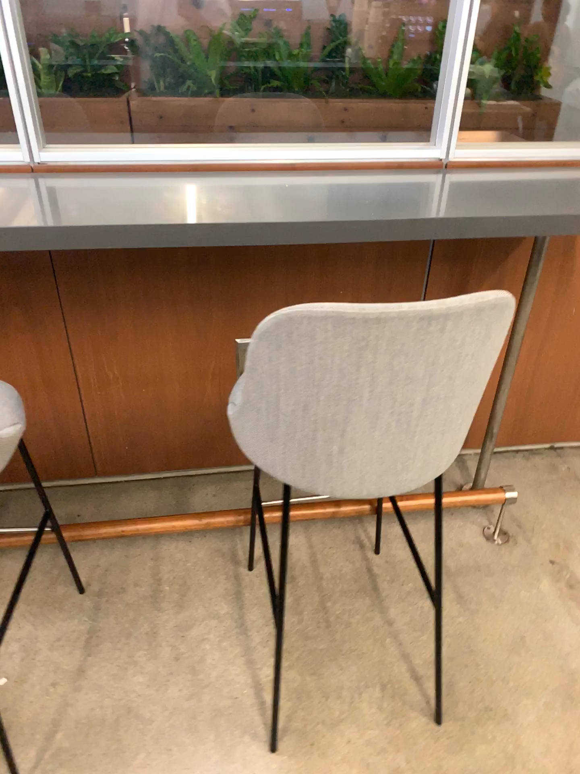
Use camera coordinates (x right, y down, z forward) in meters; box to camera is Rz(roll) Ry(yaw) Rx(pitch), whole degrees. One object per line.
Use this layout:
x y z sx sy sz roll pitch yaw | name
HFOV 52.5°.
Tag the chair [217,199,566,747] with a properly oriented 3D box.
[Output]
0.111 0.201 1.274 0.410 1.034 0.513 -8 35 -14 | chair
